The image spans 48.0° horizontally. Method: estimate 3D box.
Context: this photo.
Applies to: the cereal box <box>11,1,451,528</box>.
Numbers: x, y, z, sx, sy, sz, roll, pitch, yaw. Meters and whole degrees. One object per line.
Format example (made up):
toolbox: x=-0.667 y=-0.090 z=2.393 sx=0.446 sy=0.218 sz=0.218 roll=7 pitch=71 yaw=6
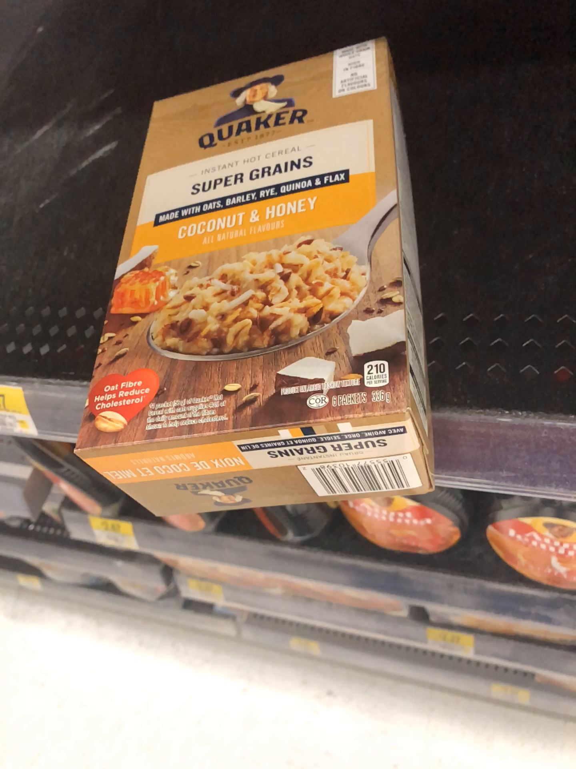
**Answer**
cereal box: x=-0.014 y=-0.062 z=0.289 sx=0.140 sy=0.060 sz=0.230 roll=-9 pitch=54 yaw=16
